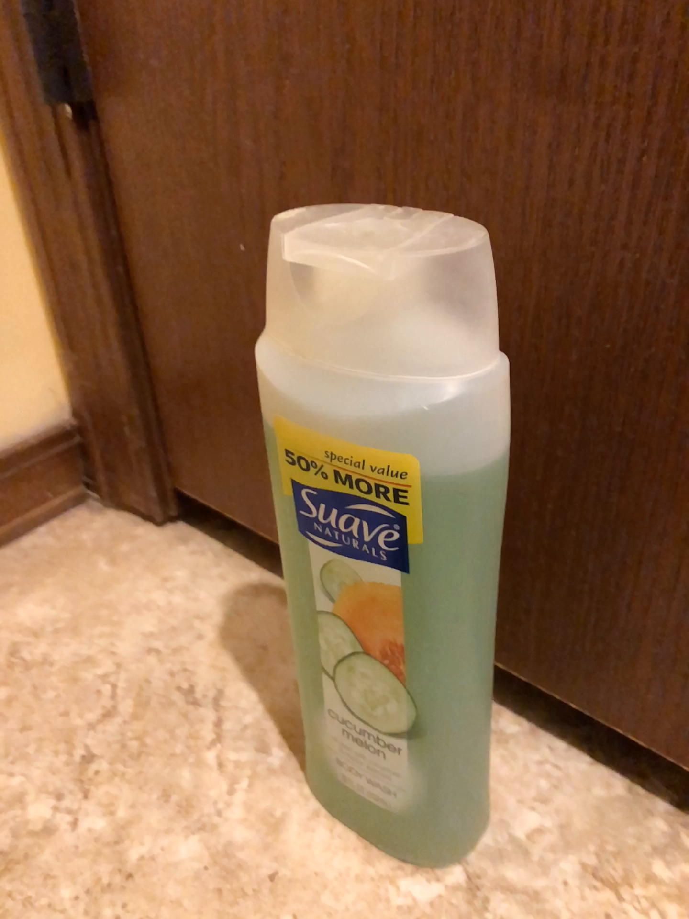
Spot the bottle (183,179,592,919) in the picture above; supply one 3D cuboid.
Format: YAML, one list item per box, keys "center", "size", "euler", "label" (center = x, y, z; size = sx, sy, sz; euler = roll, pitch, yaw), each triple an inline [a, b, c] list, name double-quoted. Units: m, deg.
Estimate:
- center: [0.016, 0.040, 0.255]
  size: [0.090, 0.239, 0.050]
  euler: [18, 38, 32]
  label: "bottle"
